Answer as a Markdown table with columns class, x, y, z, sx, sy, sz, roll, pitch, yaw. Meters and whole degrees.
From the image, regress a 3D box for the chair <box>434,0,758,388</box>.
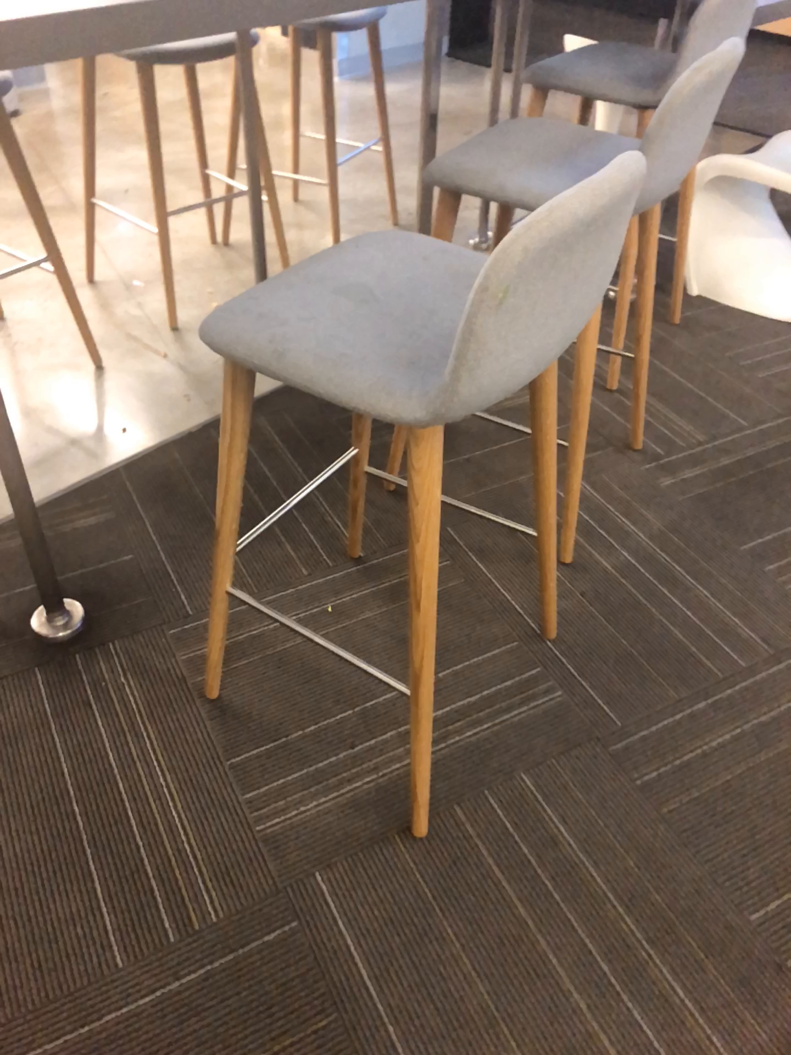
| class | x | y | z | sx | sy | sz | roll | pitch | yaw |
| --- | --- | --- | --- | --- | --- | --- | --- | --- | --- |
| chair | 0.506 | -1.037 | 2.420 | 0.541 | 1.031 | 0.544 | 25 | 46 | 24 |

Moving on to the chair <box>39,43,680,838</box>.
| class | x | y | z | sx | sy | sz | roll | pitch | yaw |
| --- | --- | --- | --- | --- | --- | --- | --- | --- | --- |
| chair | -0.020 | -0.125 | 1.337 | 0.540 | 0.942 | 0.575 | 22 | 45 | 21 |

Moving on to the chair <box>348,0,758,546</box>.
| class | x | y | z | sx | sy | sz | roll | pitch | yaw |
| --- | --- | --- | --- | --- | --- | --- | --- | --- | --- |
| chair | 0.287 | -0.571 | 1.831 | 0.540 | 0.942 | 0.575 | 22 | 45 | 21 |
